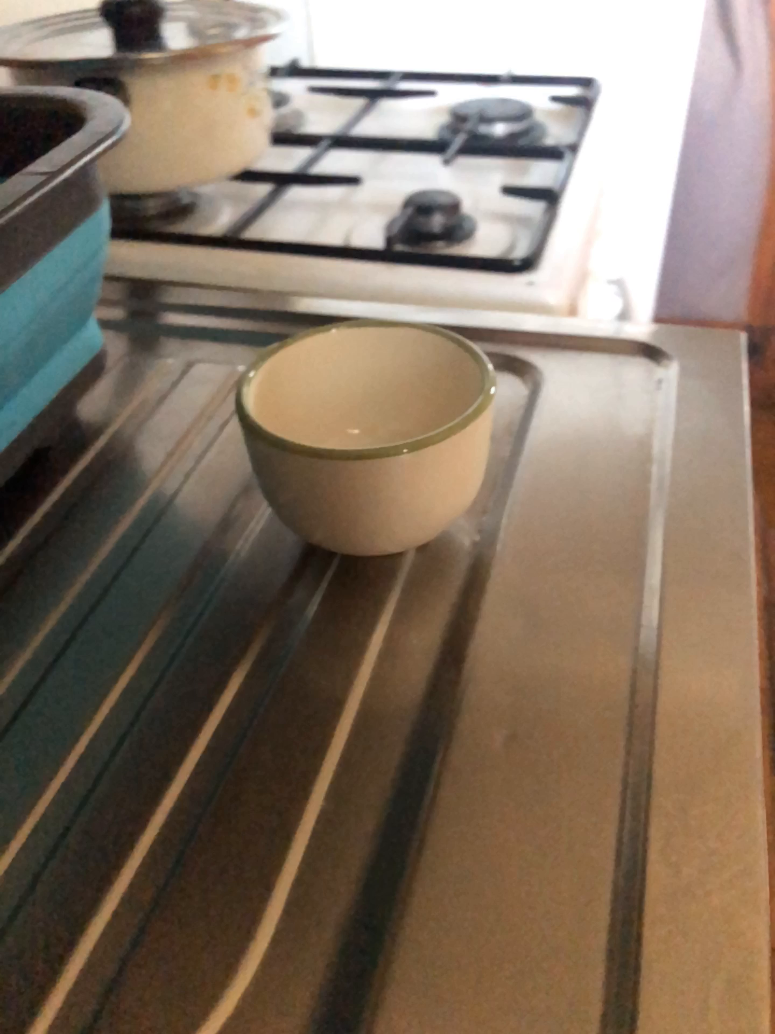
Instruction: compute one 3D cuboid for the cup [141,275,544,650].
[{"bbox_3d":[-0.018,-0.027,0.306,0.090,0.060,0.110,-25,44,-24],"label":"cup"}]
